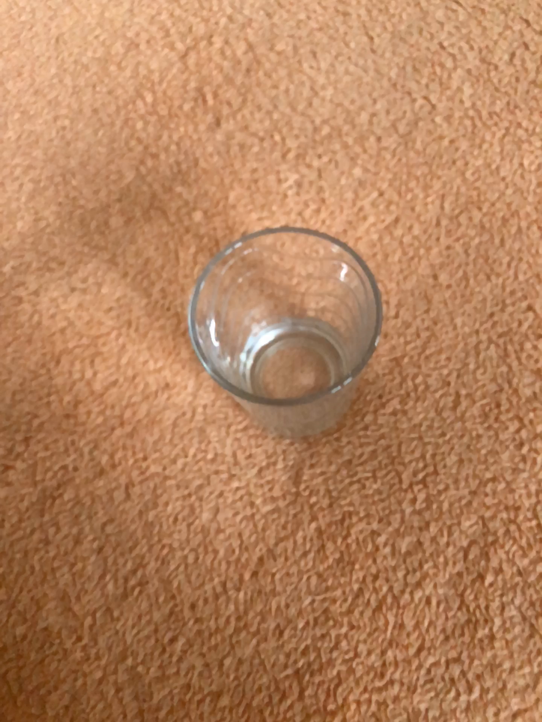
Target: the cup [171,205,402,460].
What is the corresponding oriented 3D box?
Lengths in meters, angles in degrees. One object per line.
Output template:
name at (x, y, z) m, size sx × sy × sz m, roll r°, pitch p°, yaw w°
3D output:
cup at (0.009, -0.006, 0.232) m, size 0.060 × 0.080 × 0.060 m, roll -2°, pitch 71°, yaw 5°
